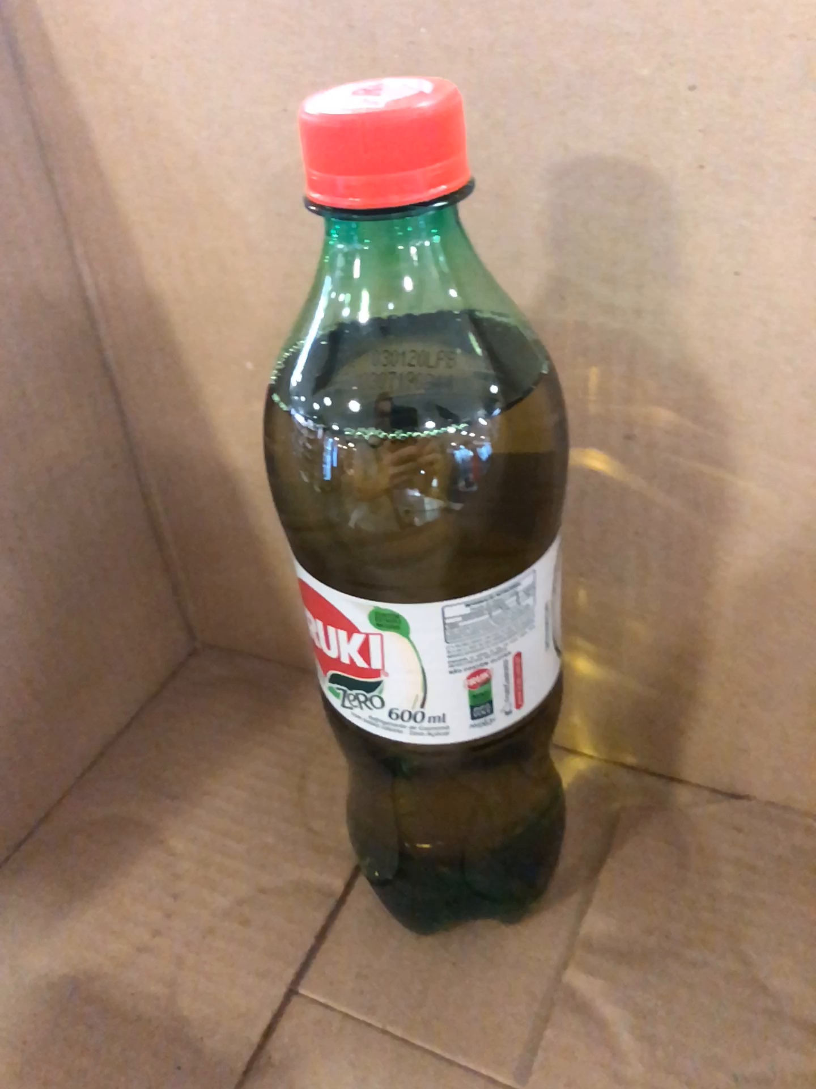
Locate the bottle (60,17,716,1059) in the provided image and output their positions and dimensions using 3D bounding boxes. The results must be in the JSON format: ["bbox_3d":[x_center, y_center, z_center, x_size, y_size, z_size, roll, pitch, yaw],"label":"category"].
[{"bbox_3d":[0.008,0.012,0.227,0.080,0.238,0.080,-4,36,3],"label":"bottle"}]
